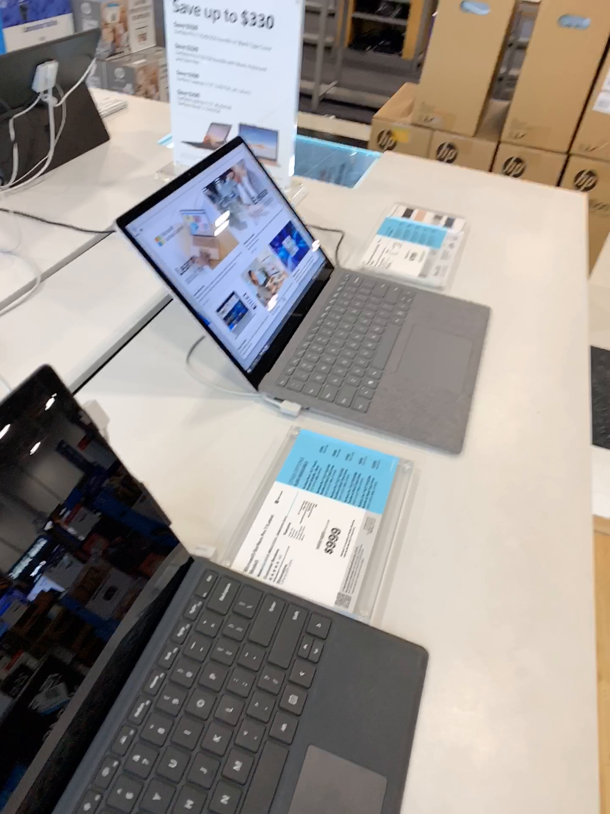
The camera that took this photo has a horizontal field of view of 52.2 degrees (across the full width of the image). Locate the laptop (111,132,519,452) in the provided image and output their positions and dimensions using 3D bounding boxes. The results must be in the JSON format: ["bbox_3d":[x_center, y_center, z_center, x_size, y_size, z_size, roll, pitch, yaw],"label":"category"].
[{"bbox_3d":[0.030,-0.156,0.718,0.374,0.148,0.297,18,41,9],"label":"laptop"}]

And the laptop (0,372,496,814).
[{"bbox_3d":[-0.081,0.161,0.315,0.290,0.158,0.290,15,41,8],"label":"laptop"}]
